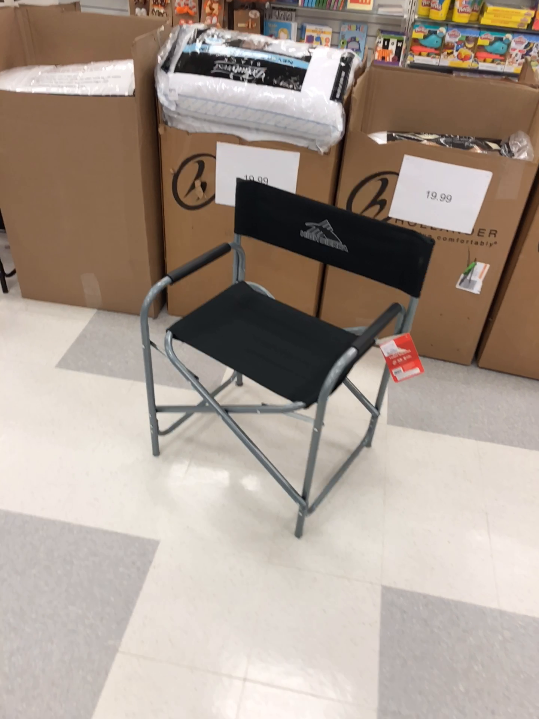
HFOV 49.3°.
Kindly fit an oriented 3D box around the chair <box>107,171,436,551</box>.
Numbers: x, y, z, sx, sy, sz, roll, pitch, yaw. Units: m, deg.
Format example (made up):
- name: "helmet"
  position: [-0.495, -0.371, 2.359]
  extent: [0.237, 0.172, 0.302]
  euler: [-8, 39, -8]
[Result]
- name: "chair"
  position: [-0.004, -0.018, 1.644]
  extent: [0.625, 0.736, 0.500]
  euler: [25, 43, 24]
